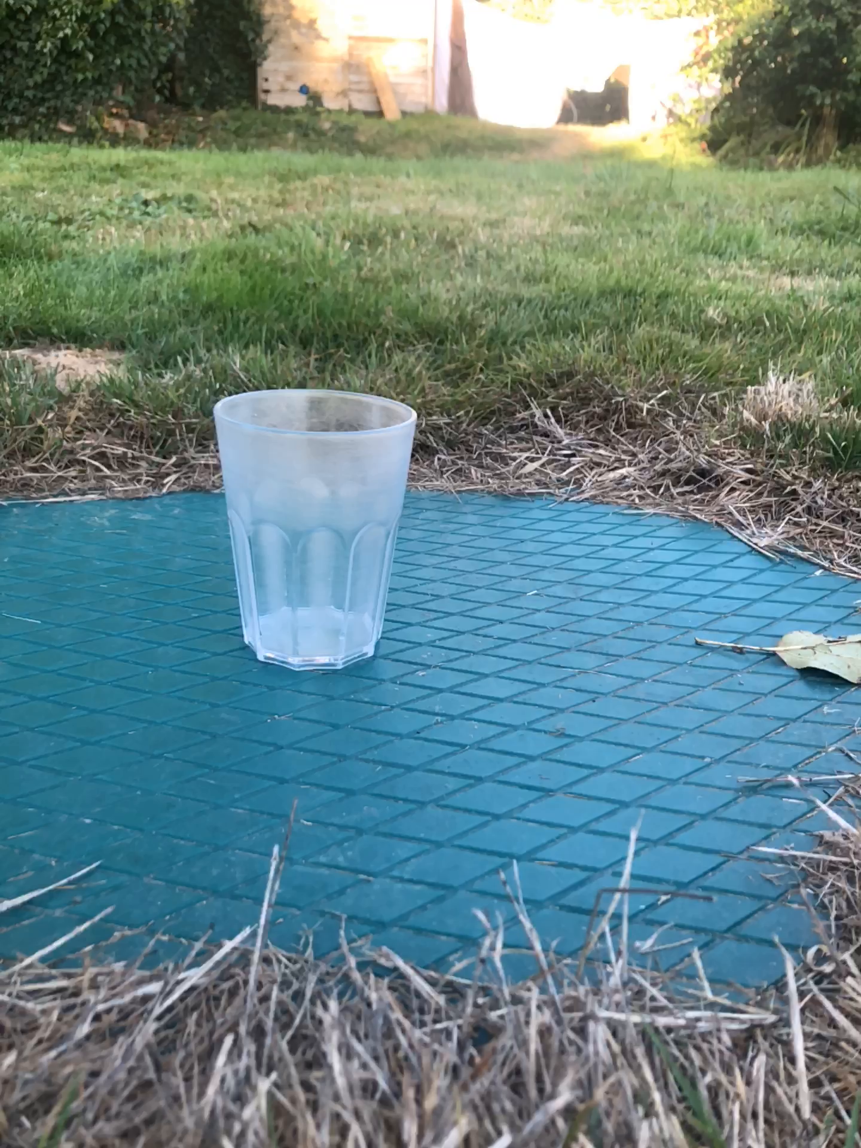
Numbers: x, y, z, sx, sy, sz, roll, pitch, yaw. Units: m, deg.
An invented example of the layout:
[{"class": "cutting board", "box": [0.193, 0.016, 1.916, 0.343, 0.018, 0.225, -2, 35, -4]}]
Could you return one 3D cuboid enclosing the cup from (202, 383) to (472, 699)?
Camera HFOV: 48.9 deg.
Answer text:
[{"class": "cup", "box": [-0.046, -0.022, 0.436, 0.088, 0.113, 0.091, 2, 20, -1]}]
